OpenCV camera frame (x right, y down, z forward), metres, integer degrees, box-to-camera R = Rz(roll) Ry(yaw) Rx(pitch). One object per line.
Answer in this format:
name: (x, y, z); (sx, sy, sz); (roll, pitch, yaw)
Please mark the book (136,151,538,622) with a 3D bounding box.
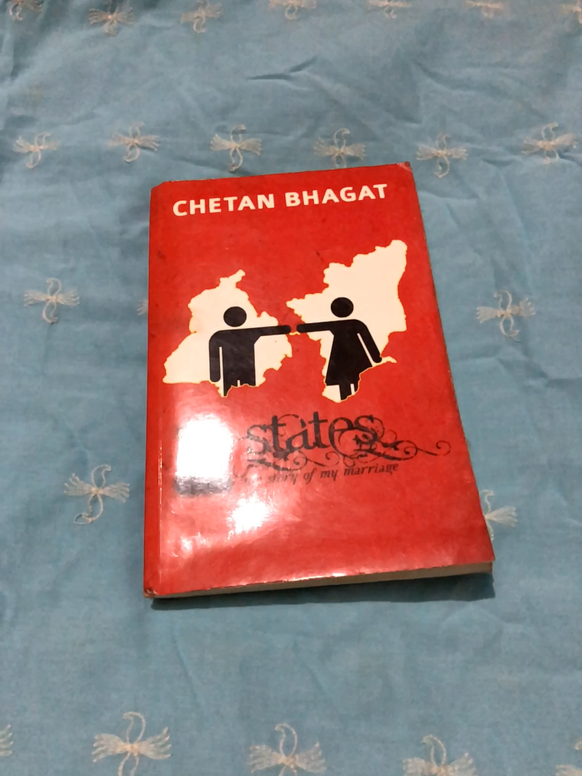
book: (0.008, -0.012, 0.281); (0.140, 0.030, 0.200); (-4, 65, -2)
